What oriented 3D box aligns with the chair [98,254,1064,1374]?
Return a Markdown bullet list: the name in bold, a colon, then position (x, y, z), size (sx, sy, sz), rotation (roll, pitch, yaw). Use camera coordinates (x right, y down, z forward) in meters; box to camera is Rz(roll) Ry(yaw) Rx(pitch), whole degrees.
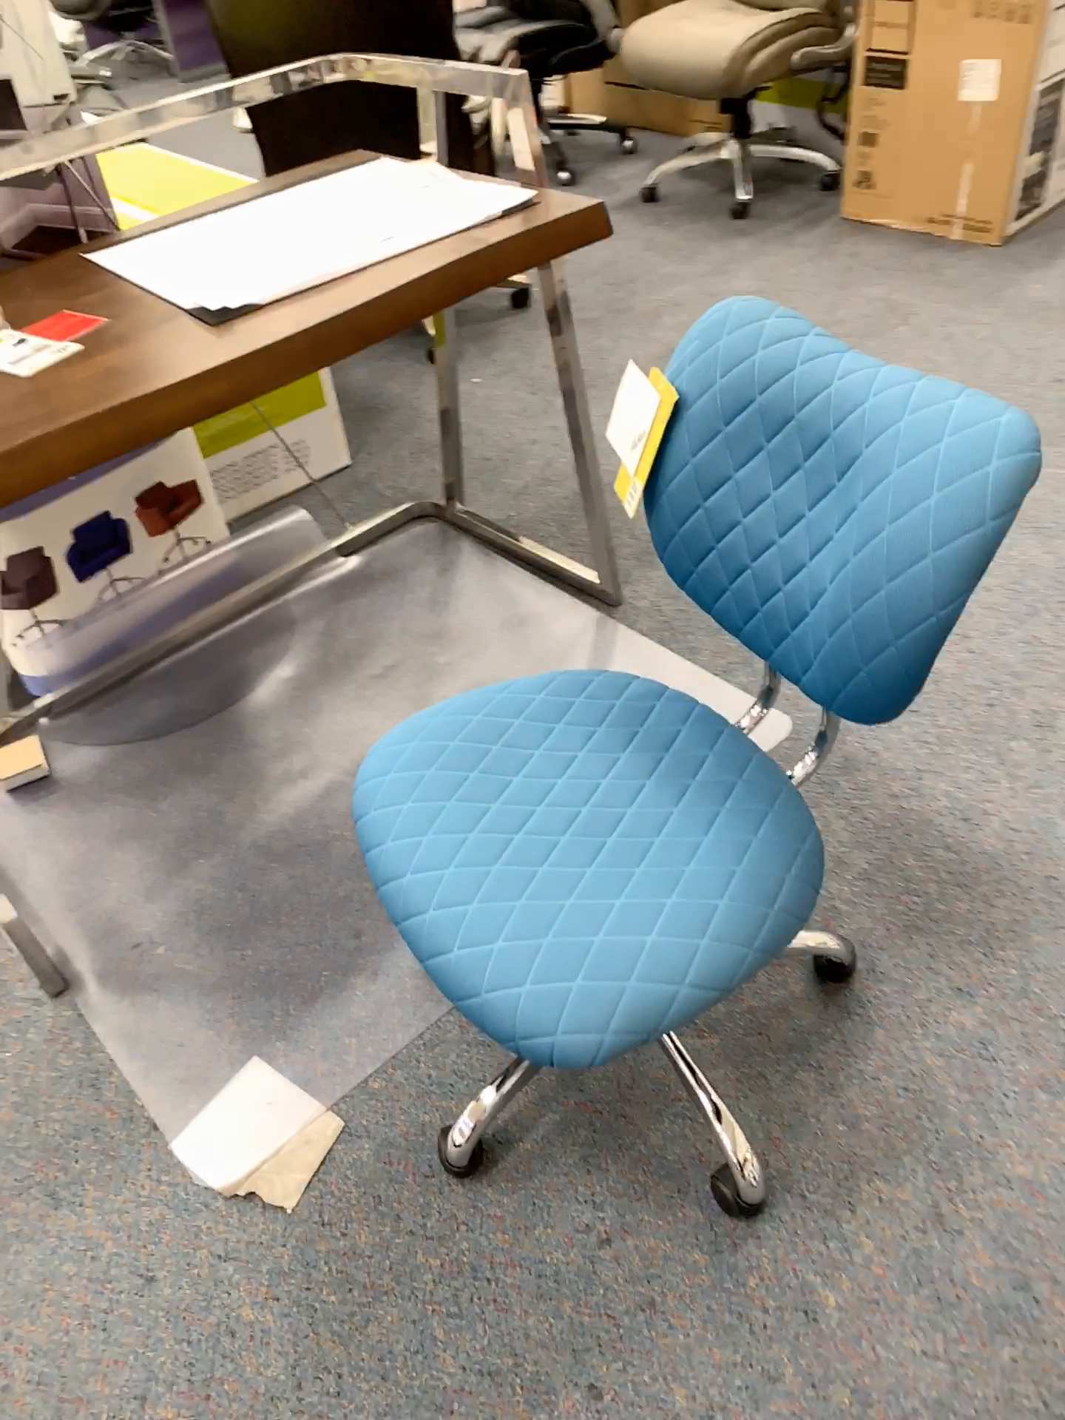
- **chair**: position (0.078, 0.083, 1.136), size (0.665, 0.775, 0.601), rotation (-24, 44, -18)
